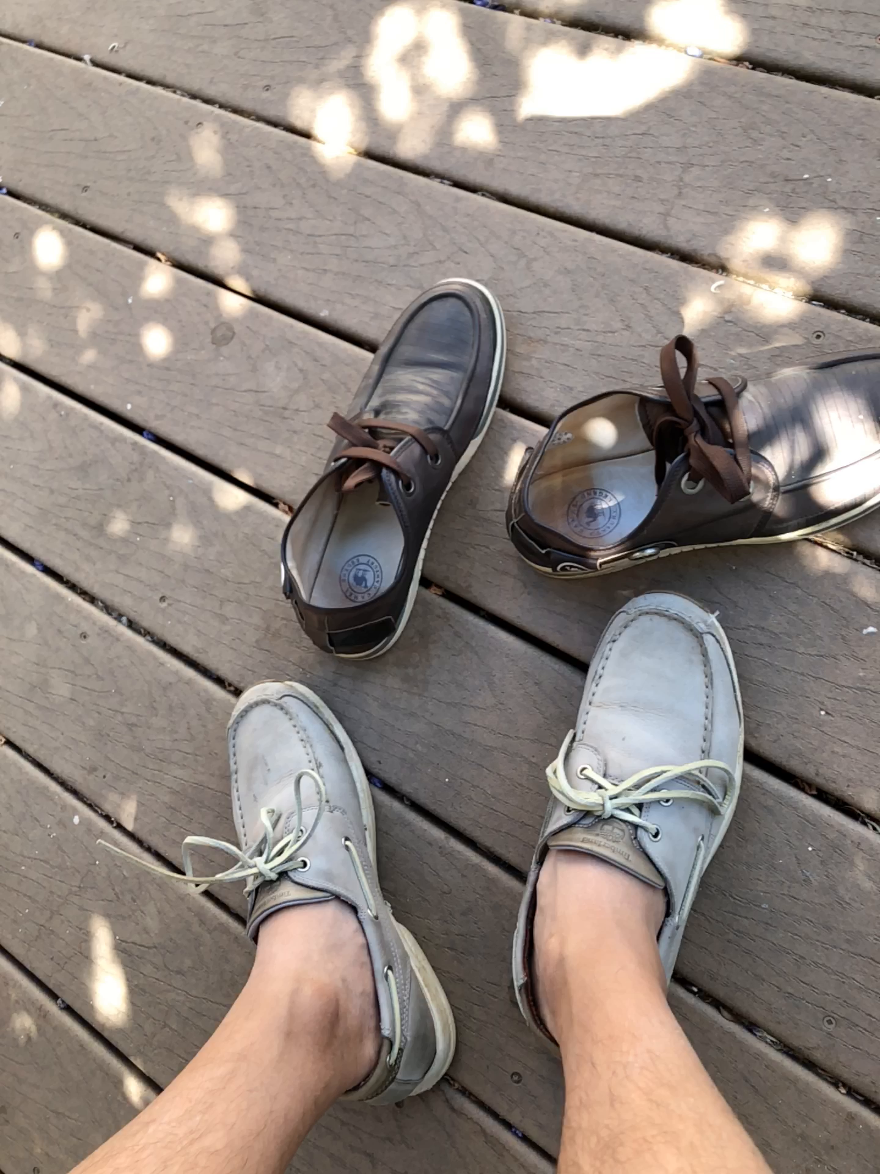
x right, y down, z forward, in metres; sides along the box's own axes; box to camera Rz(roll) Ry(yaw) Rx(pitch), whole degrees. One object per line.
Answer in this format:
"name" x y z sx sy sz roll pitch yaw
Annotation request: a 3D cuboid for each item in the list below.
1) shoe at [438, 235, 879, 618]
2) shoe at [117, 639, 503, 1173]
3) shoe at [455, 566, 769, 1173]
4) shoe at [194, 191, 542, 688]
"shoe" 0.168 -0.079 0.581 0.303 0.111 0.110 -16 76 19
"shoe" -0.089 0.199 0.648 0.110 0.111 0.303 -31 72 14
"shoe" 0.109 0.153 0.576 0.110 0.111 0.303 10 86 22
"shoe" -0.044 -0.095 0.669 0.110 0.111 0.303 19 89 23
